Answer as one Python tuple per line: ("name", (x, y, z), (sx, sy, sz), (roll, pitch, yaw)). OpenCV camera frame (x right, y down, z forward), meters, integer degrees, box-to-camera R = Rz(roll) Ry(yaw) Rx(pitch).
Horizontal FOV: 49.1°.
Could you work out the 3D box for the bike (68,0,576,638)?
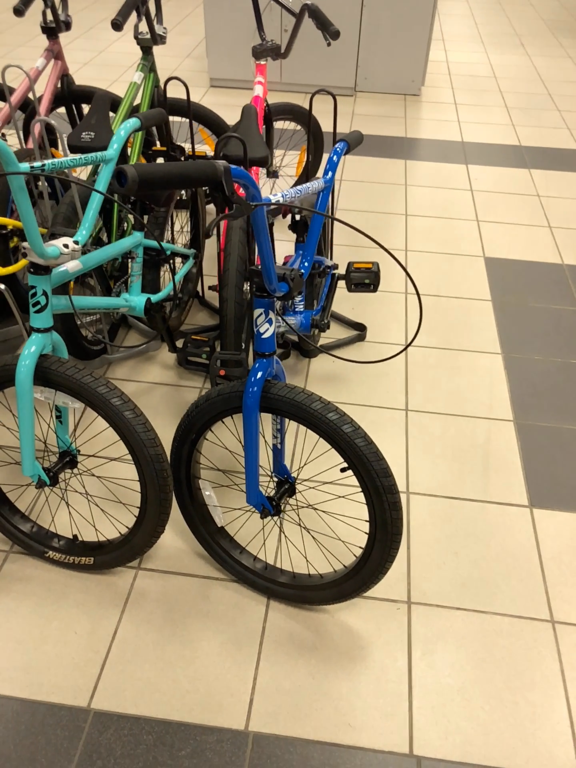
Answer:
("bike", (0.113, -0.280, 1.486), (0.821, 0.961, 1.264), (1, 40, -2))
